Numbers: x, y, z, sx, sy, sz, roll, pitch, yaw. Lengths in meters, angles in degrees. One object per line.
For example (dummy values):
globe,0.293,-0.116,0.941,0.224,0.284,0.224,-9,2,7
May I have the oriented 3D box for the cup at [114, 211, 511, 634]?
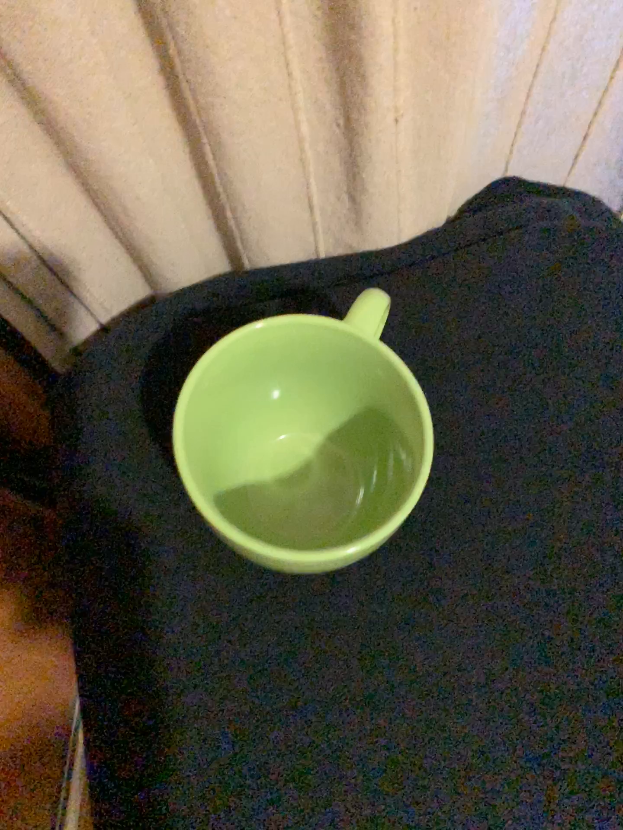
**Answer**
cup,0.004,0.005,0.250,0.089,0.069,0.125,25,72,7
